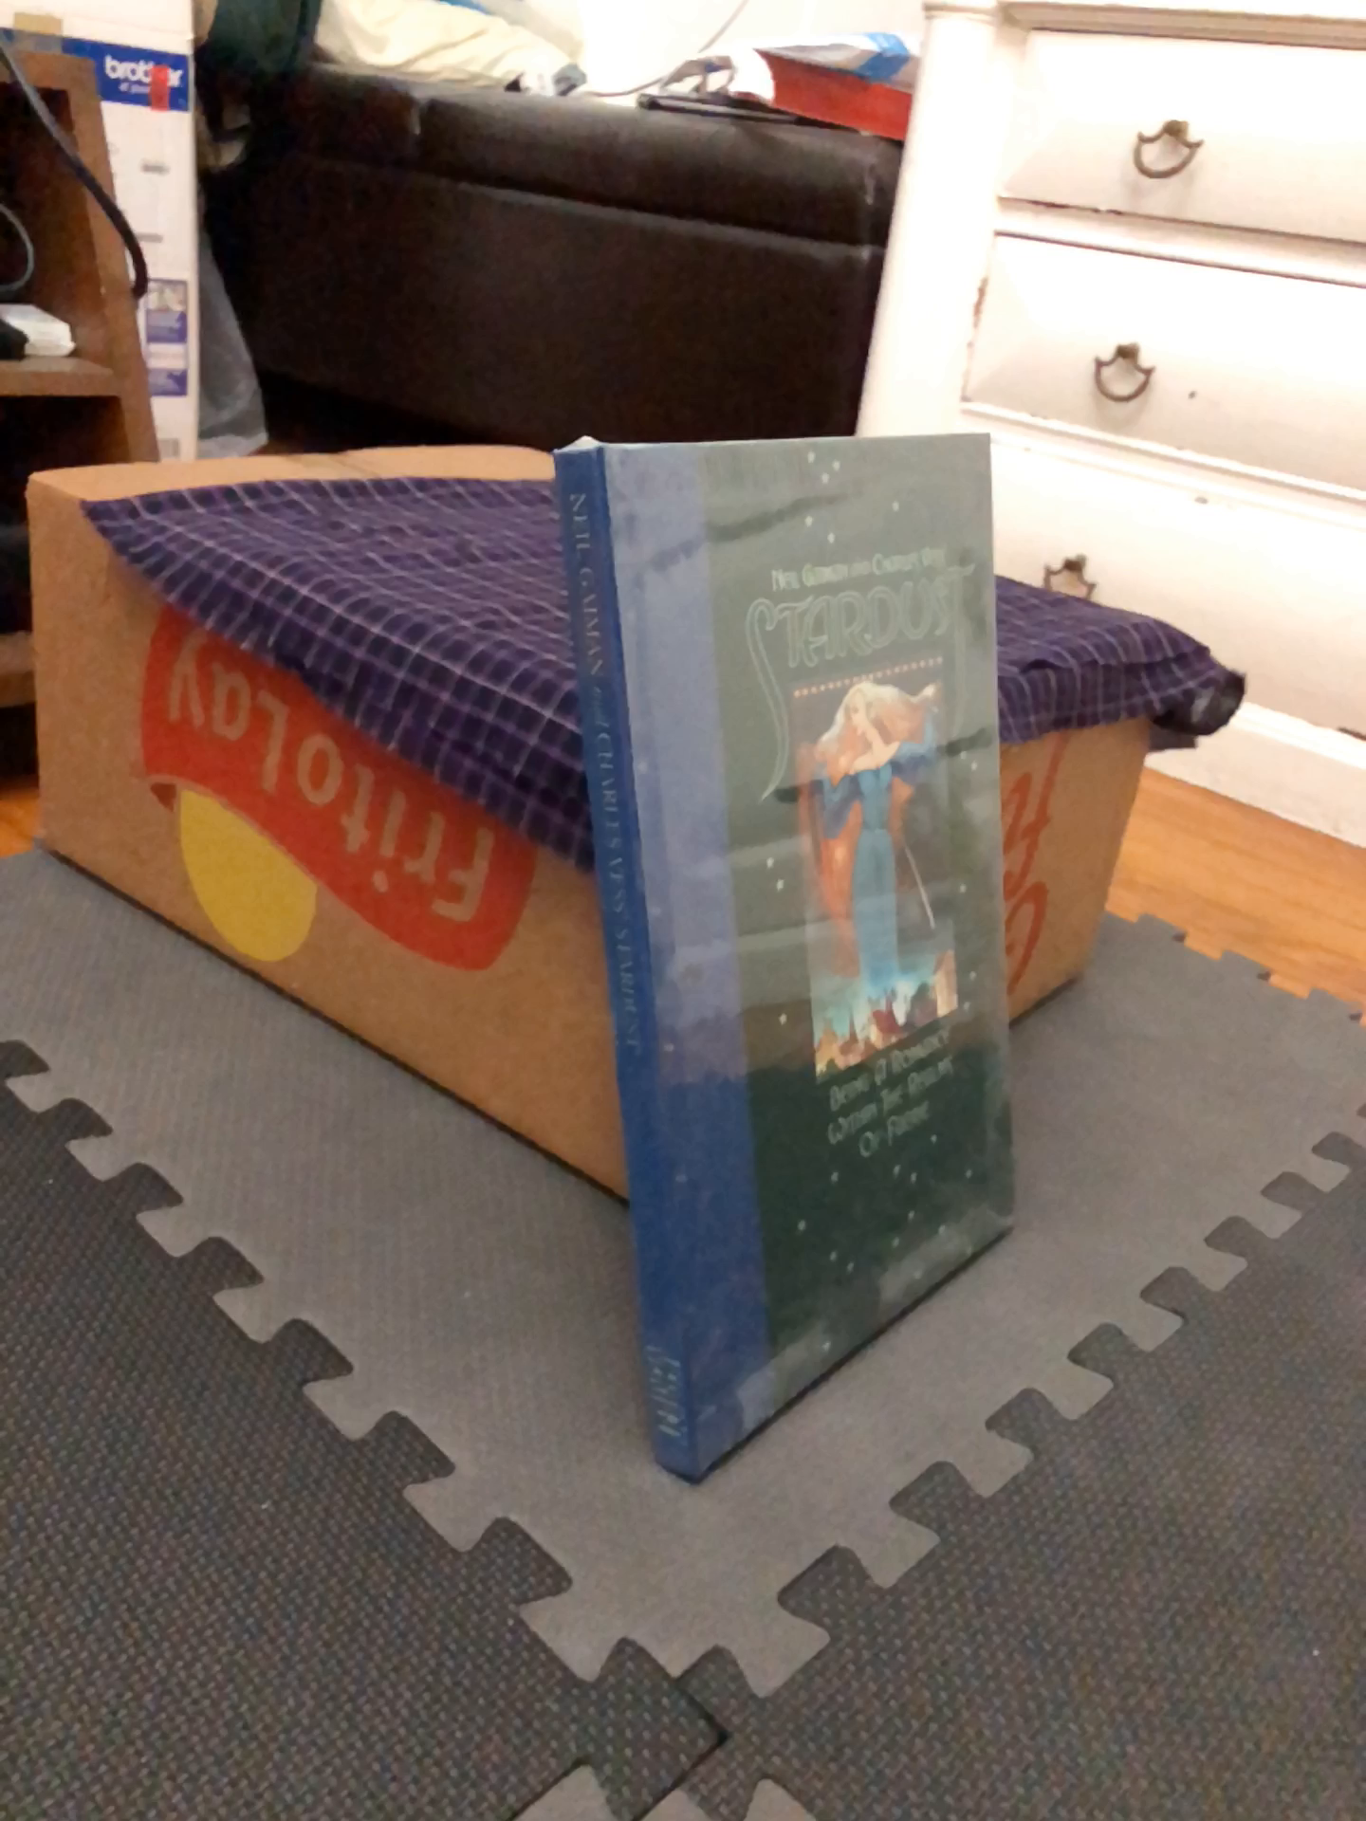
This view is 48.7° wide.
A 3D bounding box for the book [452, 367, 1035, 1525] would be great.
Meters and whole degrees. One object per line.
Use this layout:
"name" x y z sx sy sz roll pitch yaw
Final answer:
"book" 0.041 -0.005 0.505 0.050 0.329 0.221 8 20 39
